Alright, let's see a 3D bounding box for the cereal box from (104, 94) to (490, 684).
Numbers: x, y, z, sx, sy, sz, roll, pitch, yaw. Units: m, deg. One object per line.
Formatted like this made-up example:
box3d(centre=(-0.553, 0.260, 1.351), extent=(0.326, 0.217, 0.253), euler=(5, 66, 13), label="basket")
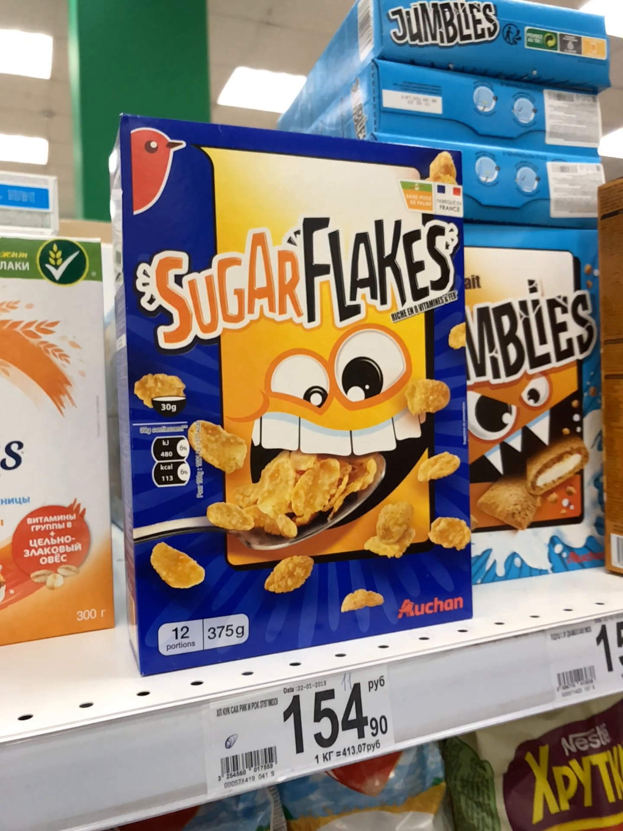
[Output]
box3d(centre=(-0.007, -0.017, 0.398), extent=(0.200, 0.280, 0.070), euler=(-2, 0, -22), label="cereal box")
